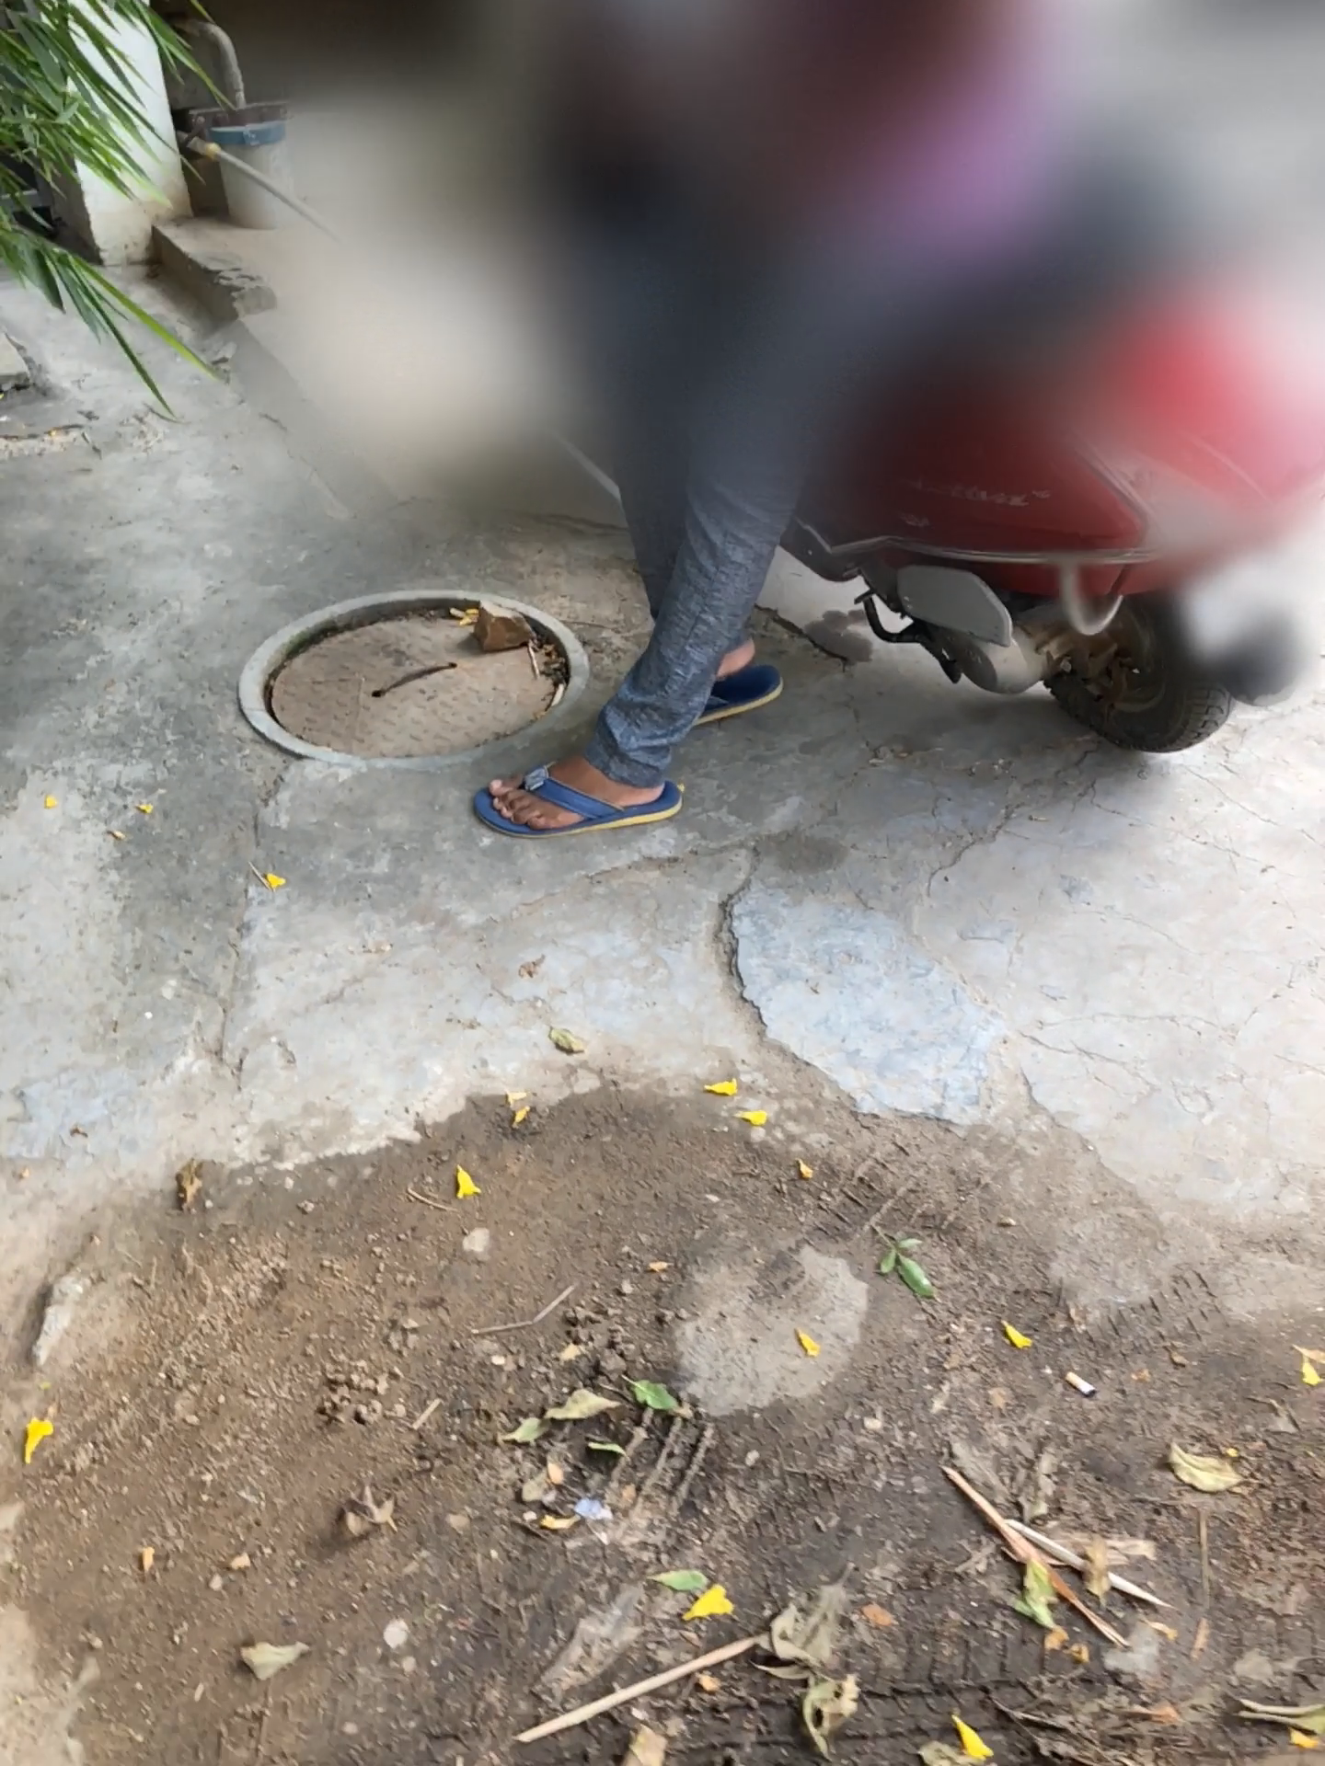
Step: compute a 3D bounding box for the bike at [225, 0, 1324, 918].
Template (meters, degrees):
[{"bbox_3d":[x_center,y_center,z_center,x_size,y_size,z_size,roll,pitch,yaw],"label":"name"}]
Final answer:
[{"bbox_3d":[0.102,-0.876,1.978,0.574,1.056,1.480,-27,46,-29],"label":"bike"}]
